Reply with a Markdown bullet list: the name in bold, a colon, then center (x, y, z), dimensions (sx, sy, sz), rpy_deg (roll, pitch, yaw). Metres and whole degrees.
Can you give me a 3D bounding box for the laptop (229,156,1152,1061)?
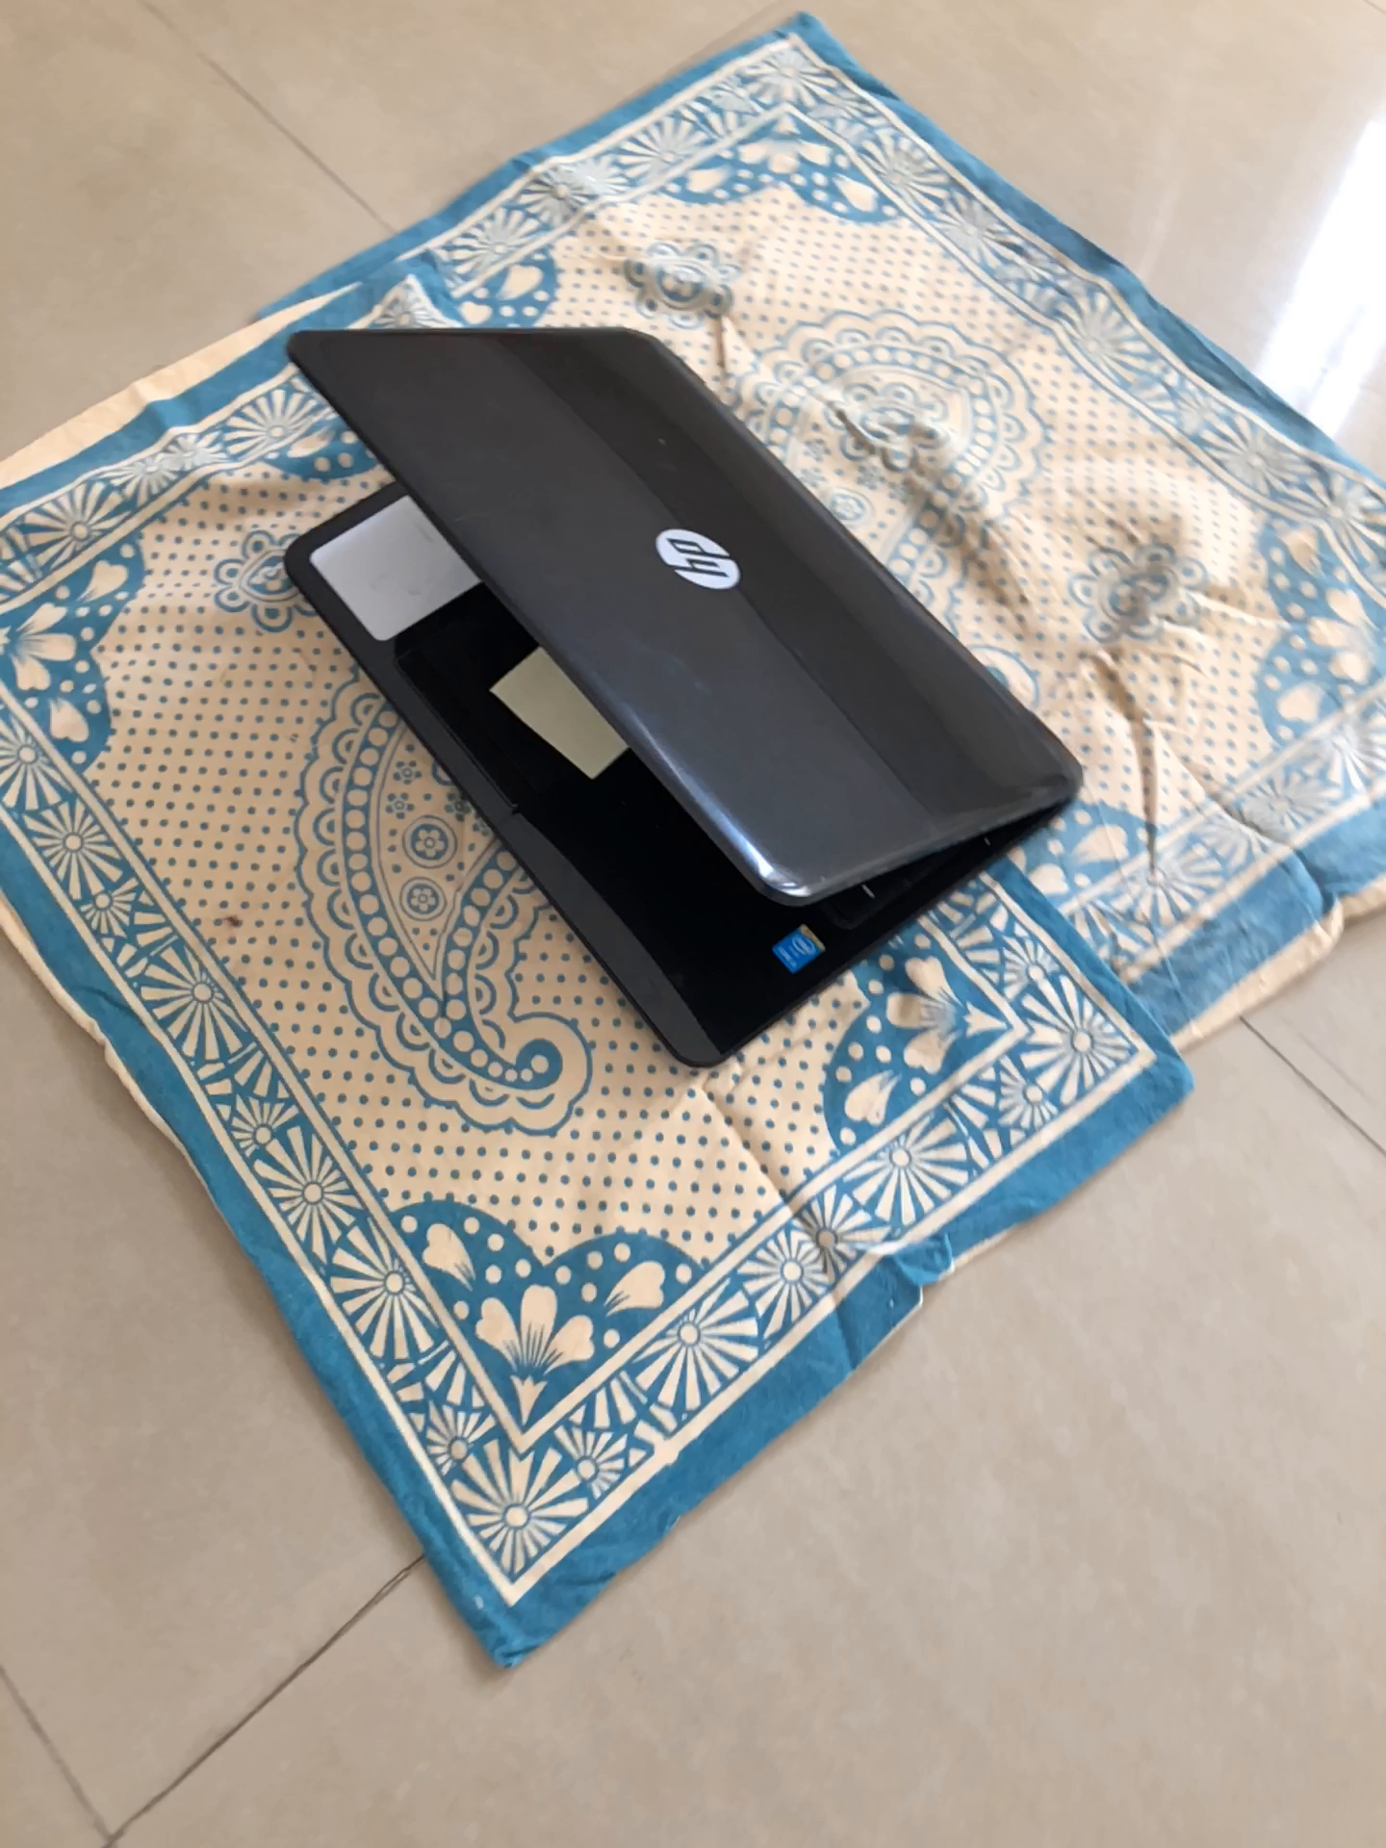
- **laptop**: center (-0.009, -0.161, 0.733), dimensions (0.237, 0.151, 0.363), rpy_deg (-34, 68, -15)
